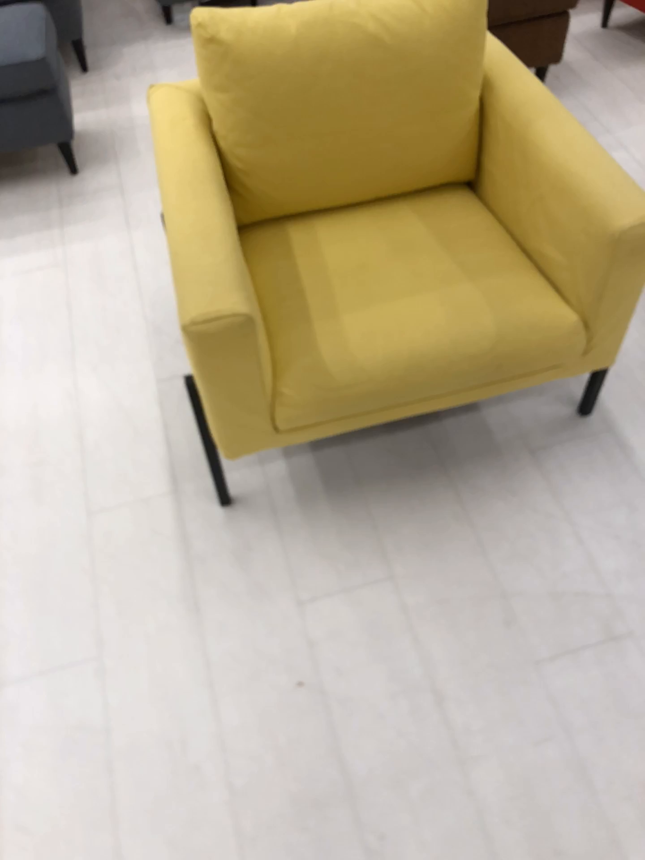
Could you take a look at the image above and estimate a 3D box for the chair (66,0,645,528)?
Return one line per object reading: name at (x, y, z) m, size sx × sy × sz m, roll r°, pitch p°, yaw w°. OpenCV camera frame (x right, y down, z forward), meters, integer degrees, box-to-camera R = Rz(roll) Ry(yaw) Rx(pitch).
chair at (0.117, -0.404, 1.475) m, size 0.980 × 0.758 × 0.692 m, roll -14°, pitch 54°, yaw -7°
